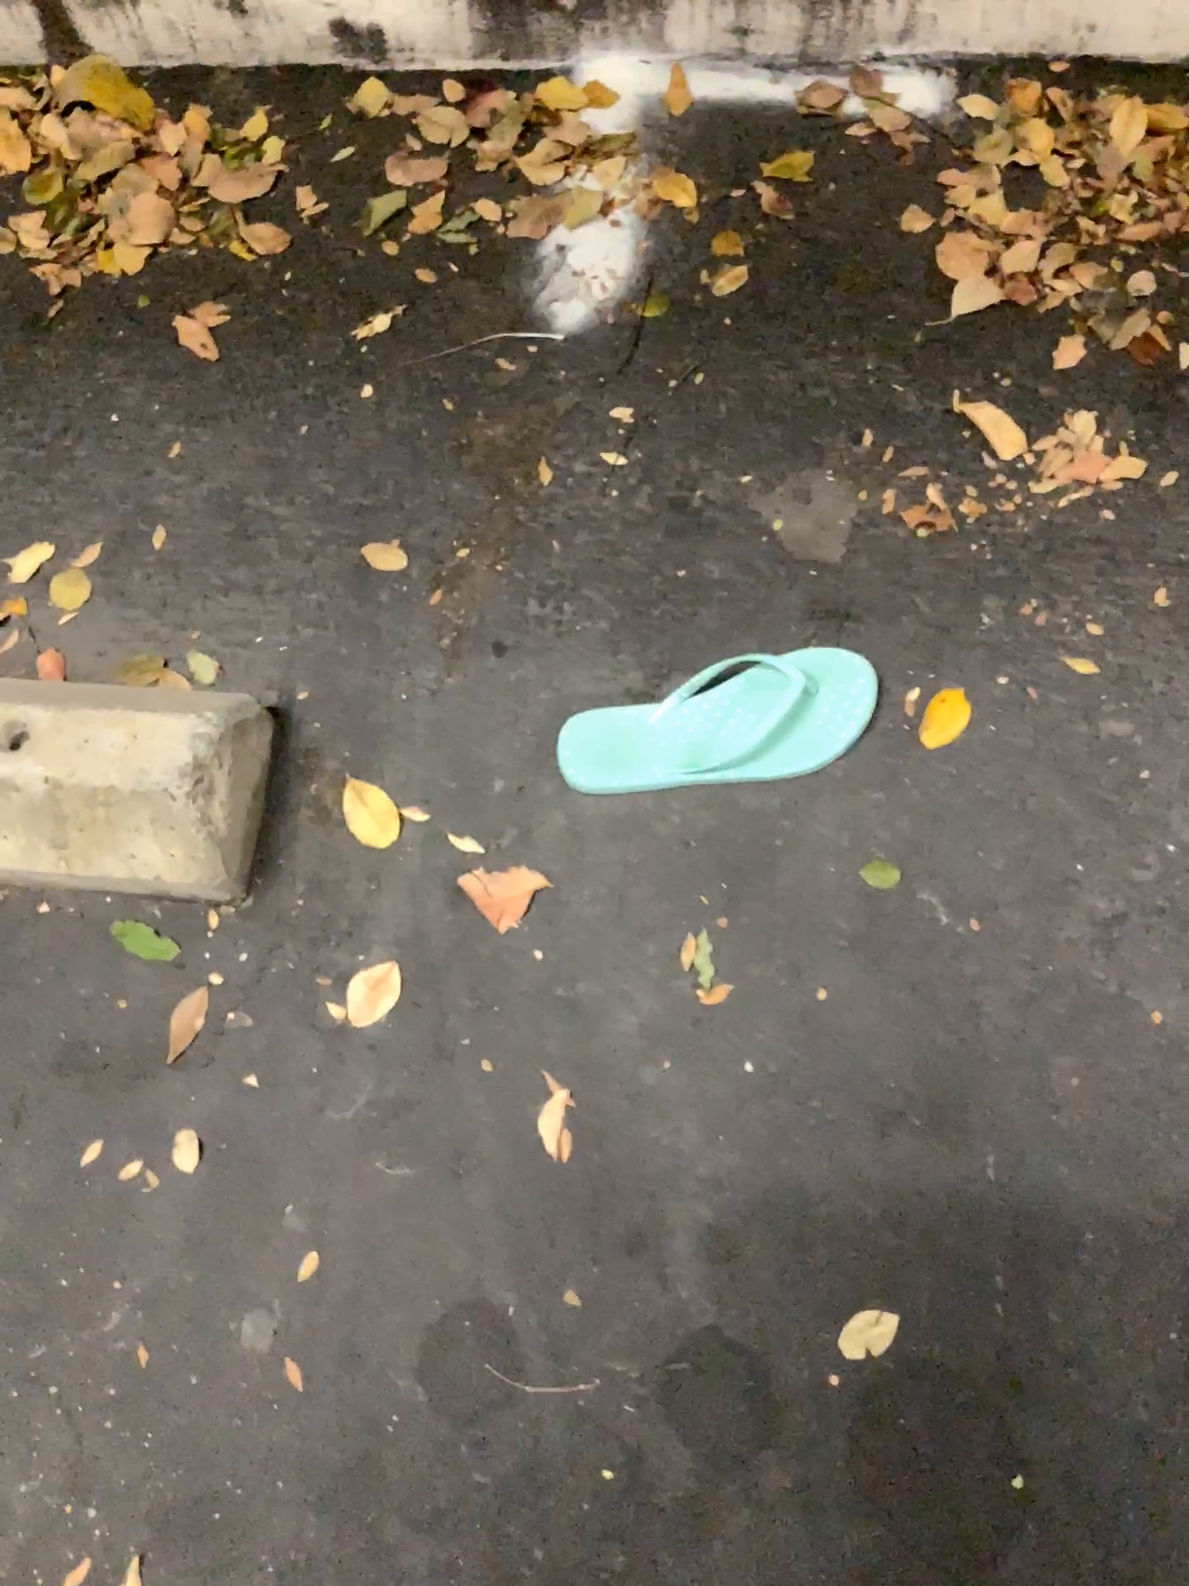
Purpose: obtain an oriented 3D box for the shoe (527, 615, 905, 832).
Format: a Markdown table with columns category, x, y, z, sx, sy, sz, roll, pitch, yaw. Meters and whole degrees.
| category | x | y | z | sx | sy | sz | roll | pitch | yaw |
| --- | --- | --- | --- | --- | --- | --- | --- | --- | --- |
| shoe | 0.094 | -0.056 | 1.060 | 0.280 | 0.050 | 0.120 | -9 | 66 | 1 |
